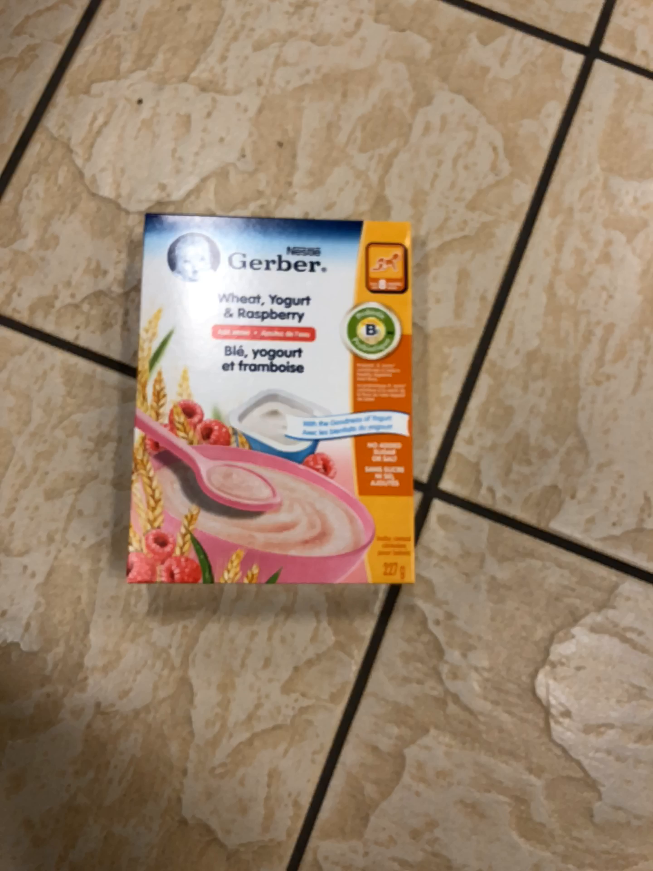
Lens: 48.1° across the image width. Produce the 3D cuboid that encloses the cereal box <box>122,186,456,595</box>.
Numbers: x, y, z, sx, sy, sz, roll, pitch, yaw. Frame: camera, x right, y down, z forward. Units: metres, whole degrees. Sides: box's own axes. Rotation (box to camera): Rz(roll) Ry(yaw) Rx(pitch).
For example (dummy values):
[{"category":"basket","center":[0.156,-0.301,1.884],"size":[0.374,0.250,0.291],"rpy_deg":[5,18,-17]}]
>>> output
[{"category":"cereal box","center":[-0.017,-0.023,0.395],"size":[0.160,0.050,0.210],"rpy_deg":[1,79,-2]}]
